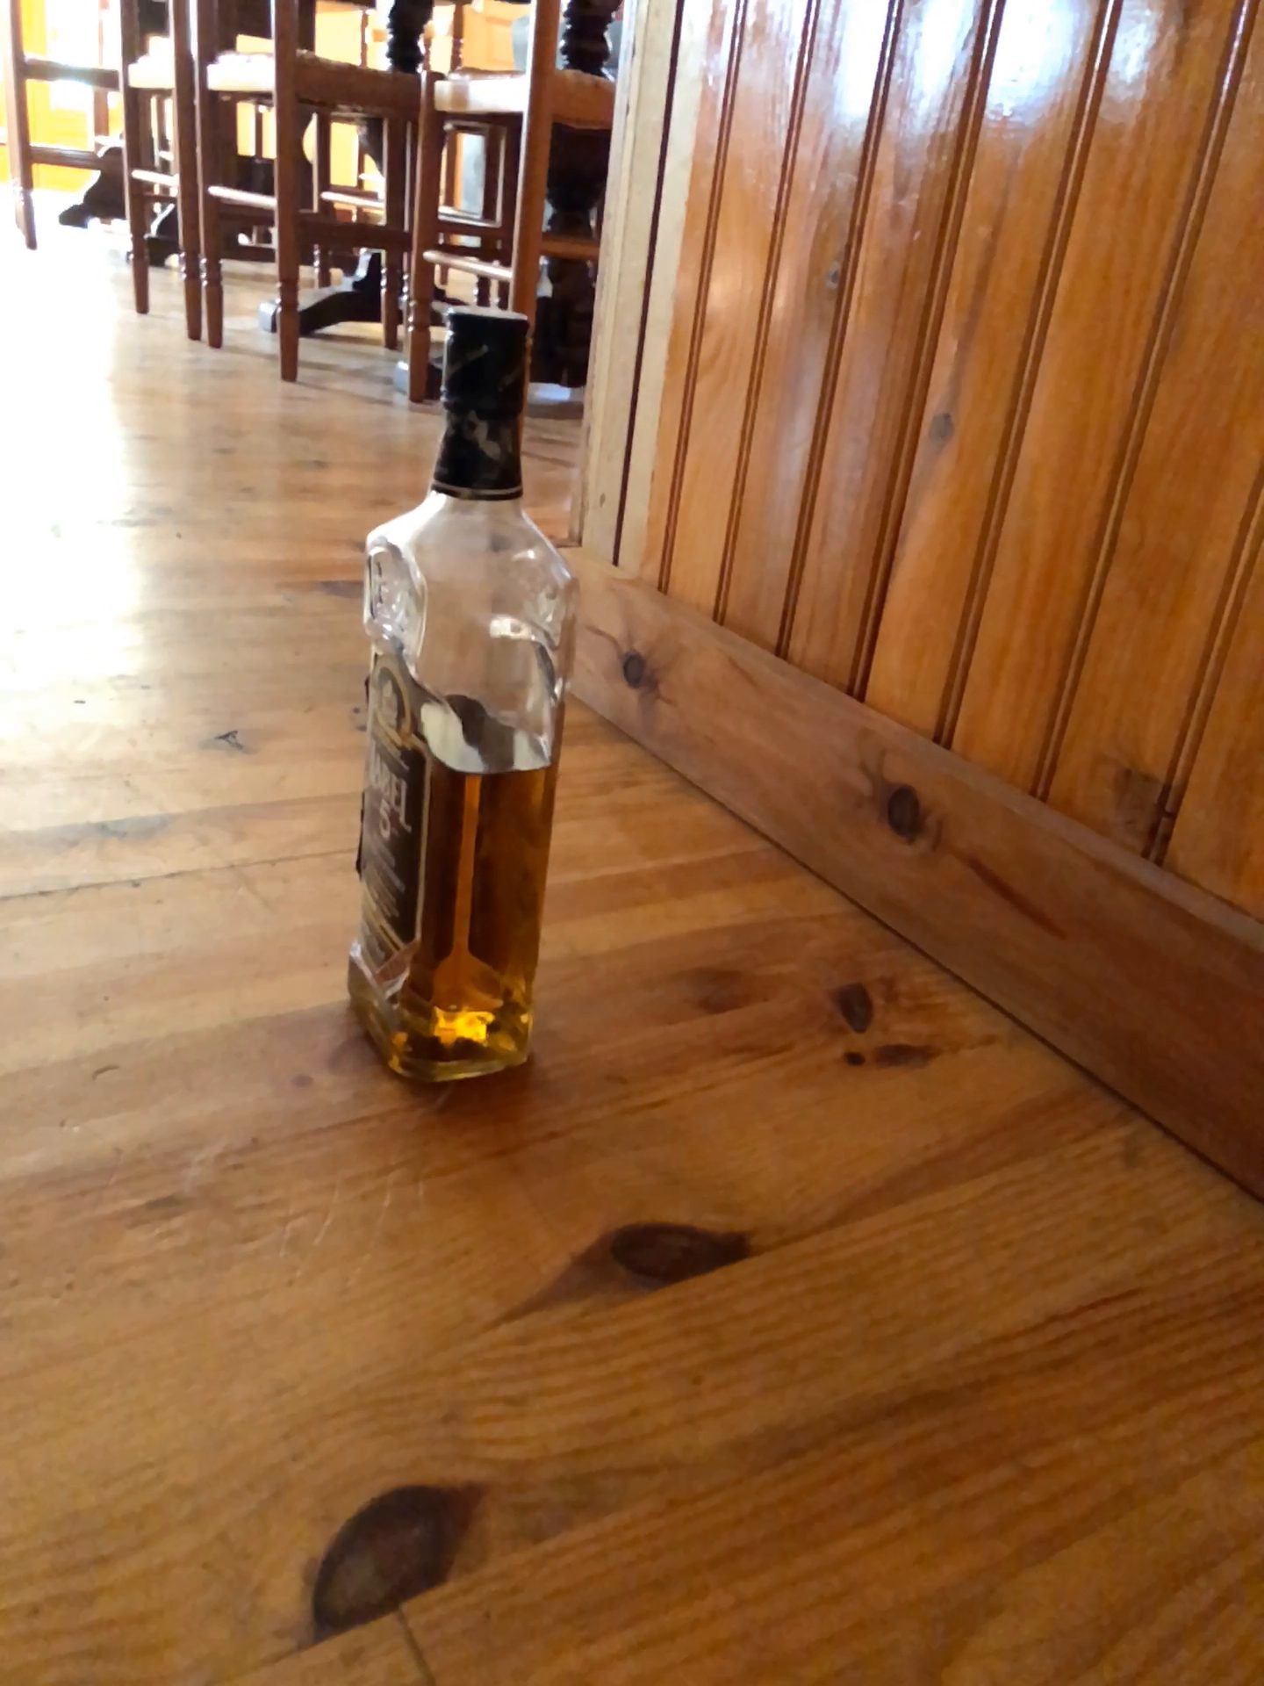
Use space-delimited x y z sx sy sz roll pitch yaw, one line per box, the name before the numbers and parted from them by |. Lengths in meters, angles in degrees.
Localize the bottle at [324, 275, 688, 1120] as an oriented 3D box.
bottle | -0.060 -0.054 0.532 0.080 0.288 0.120 -5 27 -26
